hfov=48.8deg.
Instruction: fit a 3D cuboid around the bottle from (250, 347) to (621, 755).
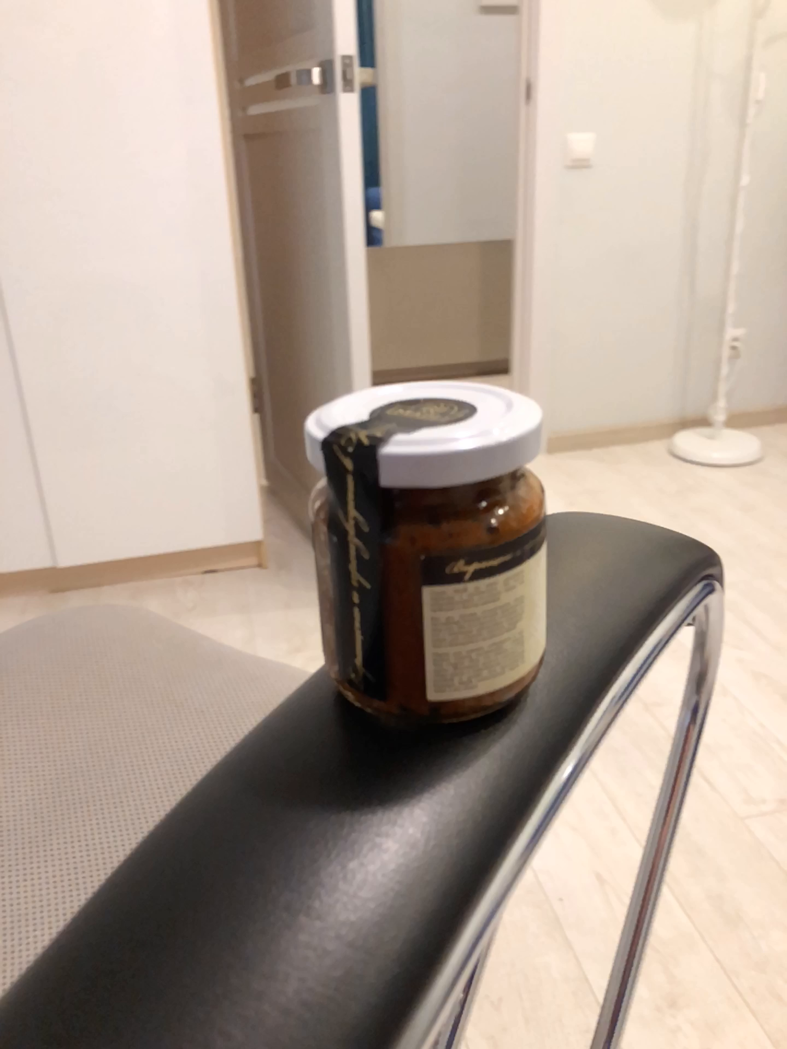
[{"bbox_3d":[0.011,0.000,0.212,0.060,0.070,0.060,19,30,40],"label":"bottle"}]
